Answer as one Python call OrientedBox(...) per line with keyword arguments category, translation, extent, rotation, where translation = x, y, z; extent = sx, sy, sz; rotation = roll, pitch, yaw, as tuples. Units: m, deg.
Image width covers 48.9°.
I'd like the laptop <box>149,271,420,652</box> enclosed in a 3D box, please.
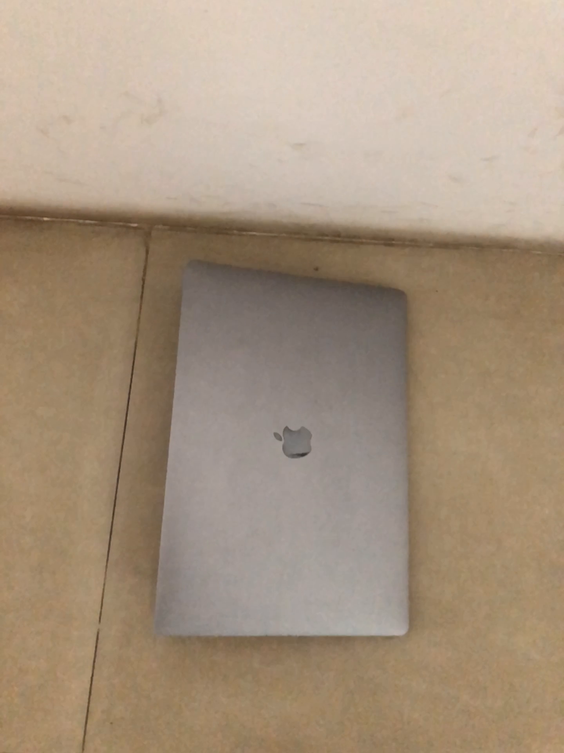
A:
OrientedBox(category="laptop", translation=(0.010, 0.073, 0.602), extent=(0.232, 0.057, 0.335), rotation=(4, 77, 1))
